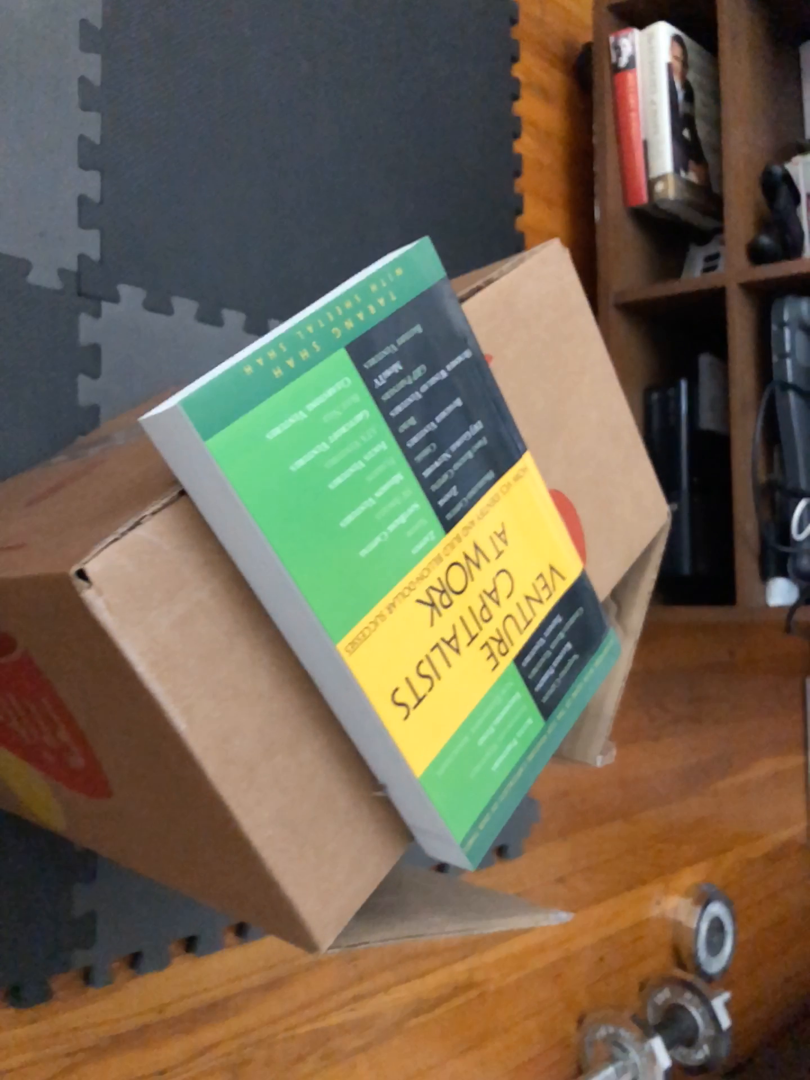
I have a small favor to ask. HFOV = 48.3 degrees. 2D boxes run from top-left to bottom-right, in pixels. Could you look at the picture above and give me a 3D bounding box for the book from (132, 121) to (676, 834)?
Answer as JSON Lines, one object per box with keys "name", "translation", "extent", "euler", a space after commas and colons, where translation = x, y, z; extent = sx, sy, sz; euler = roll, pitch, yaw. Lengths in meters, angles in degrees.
{"name": "book", "translation": [0.023, -0.026, 0.399], "extent": [0.161, 0.040, 0.260], "euler": [-45, 115, -36]}
